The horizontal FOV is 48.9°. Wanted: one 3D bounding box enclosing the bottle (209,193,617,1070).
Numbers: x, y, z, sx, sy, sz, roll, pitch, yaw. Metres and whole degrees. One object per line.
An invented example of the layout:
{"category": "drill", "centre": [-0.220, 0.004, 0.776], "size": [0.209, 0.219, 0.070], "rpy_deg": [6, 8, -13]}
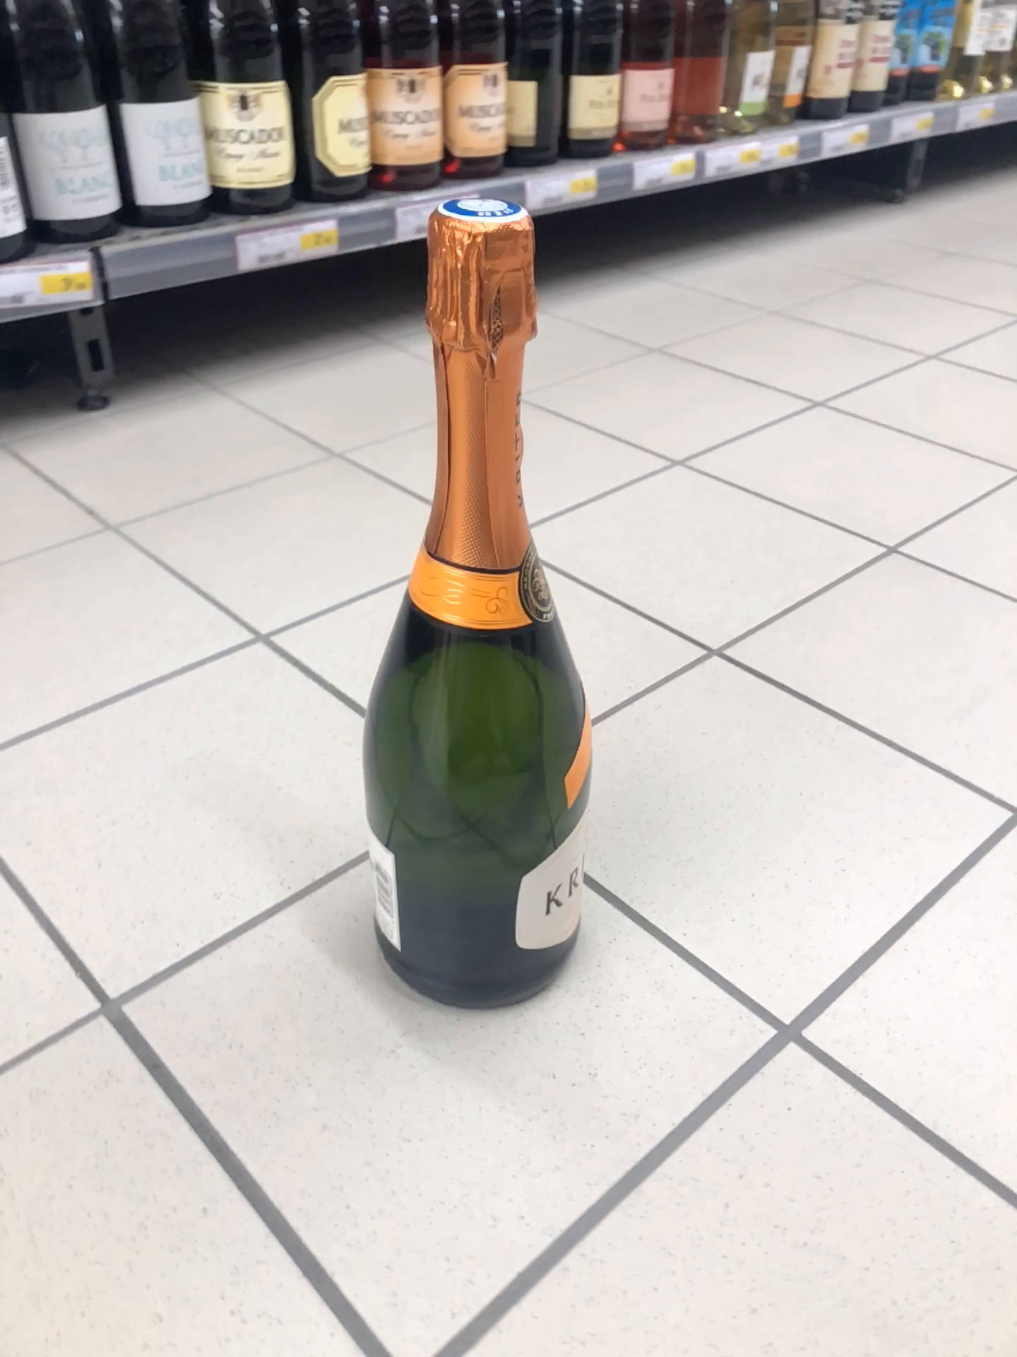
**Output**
{"category": "bottle", "centre": [-0.025, -0.004, 0.417], "size": [0.100, 0.308, 0.101], "rpy_deg": [1, 33, -1]}
